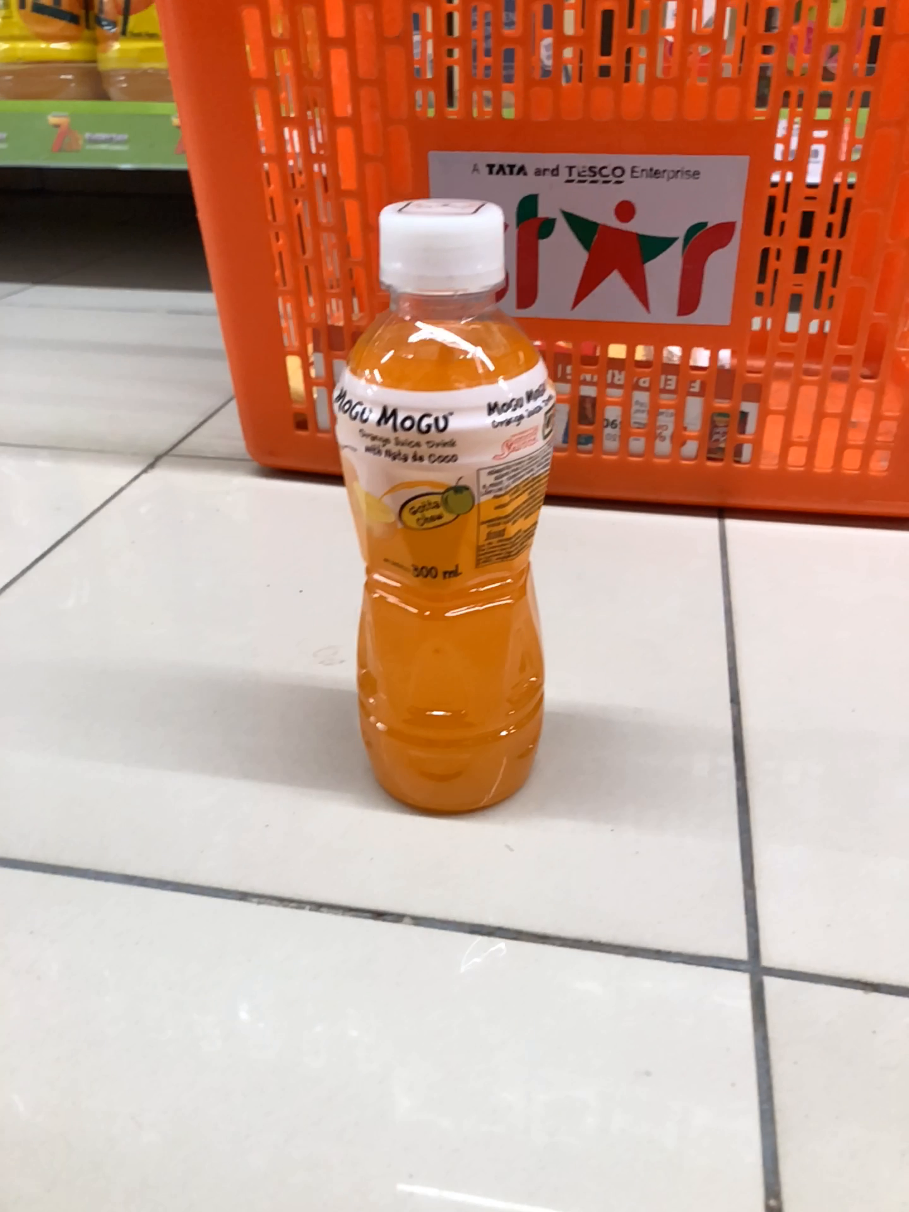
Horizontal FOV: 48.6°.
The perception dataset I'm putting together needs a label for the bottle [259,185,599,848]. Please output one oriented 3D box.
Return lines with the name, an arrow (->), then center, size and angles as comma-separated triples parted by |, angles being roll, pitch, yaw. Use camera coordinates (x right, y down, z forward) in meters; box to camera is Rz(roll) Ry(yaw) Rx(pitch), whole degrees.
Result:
bottle -> -0.005, -0.022, 0.271 | 0.060, 0.159, 0.050 | 23, 37, 35
